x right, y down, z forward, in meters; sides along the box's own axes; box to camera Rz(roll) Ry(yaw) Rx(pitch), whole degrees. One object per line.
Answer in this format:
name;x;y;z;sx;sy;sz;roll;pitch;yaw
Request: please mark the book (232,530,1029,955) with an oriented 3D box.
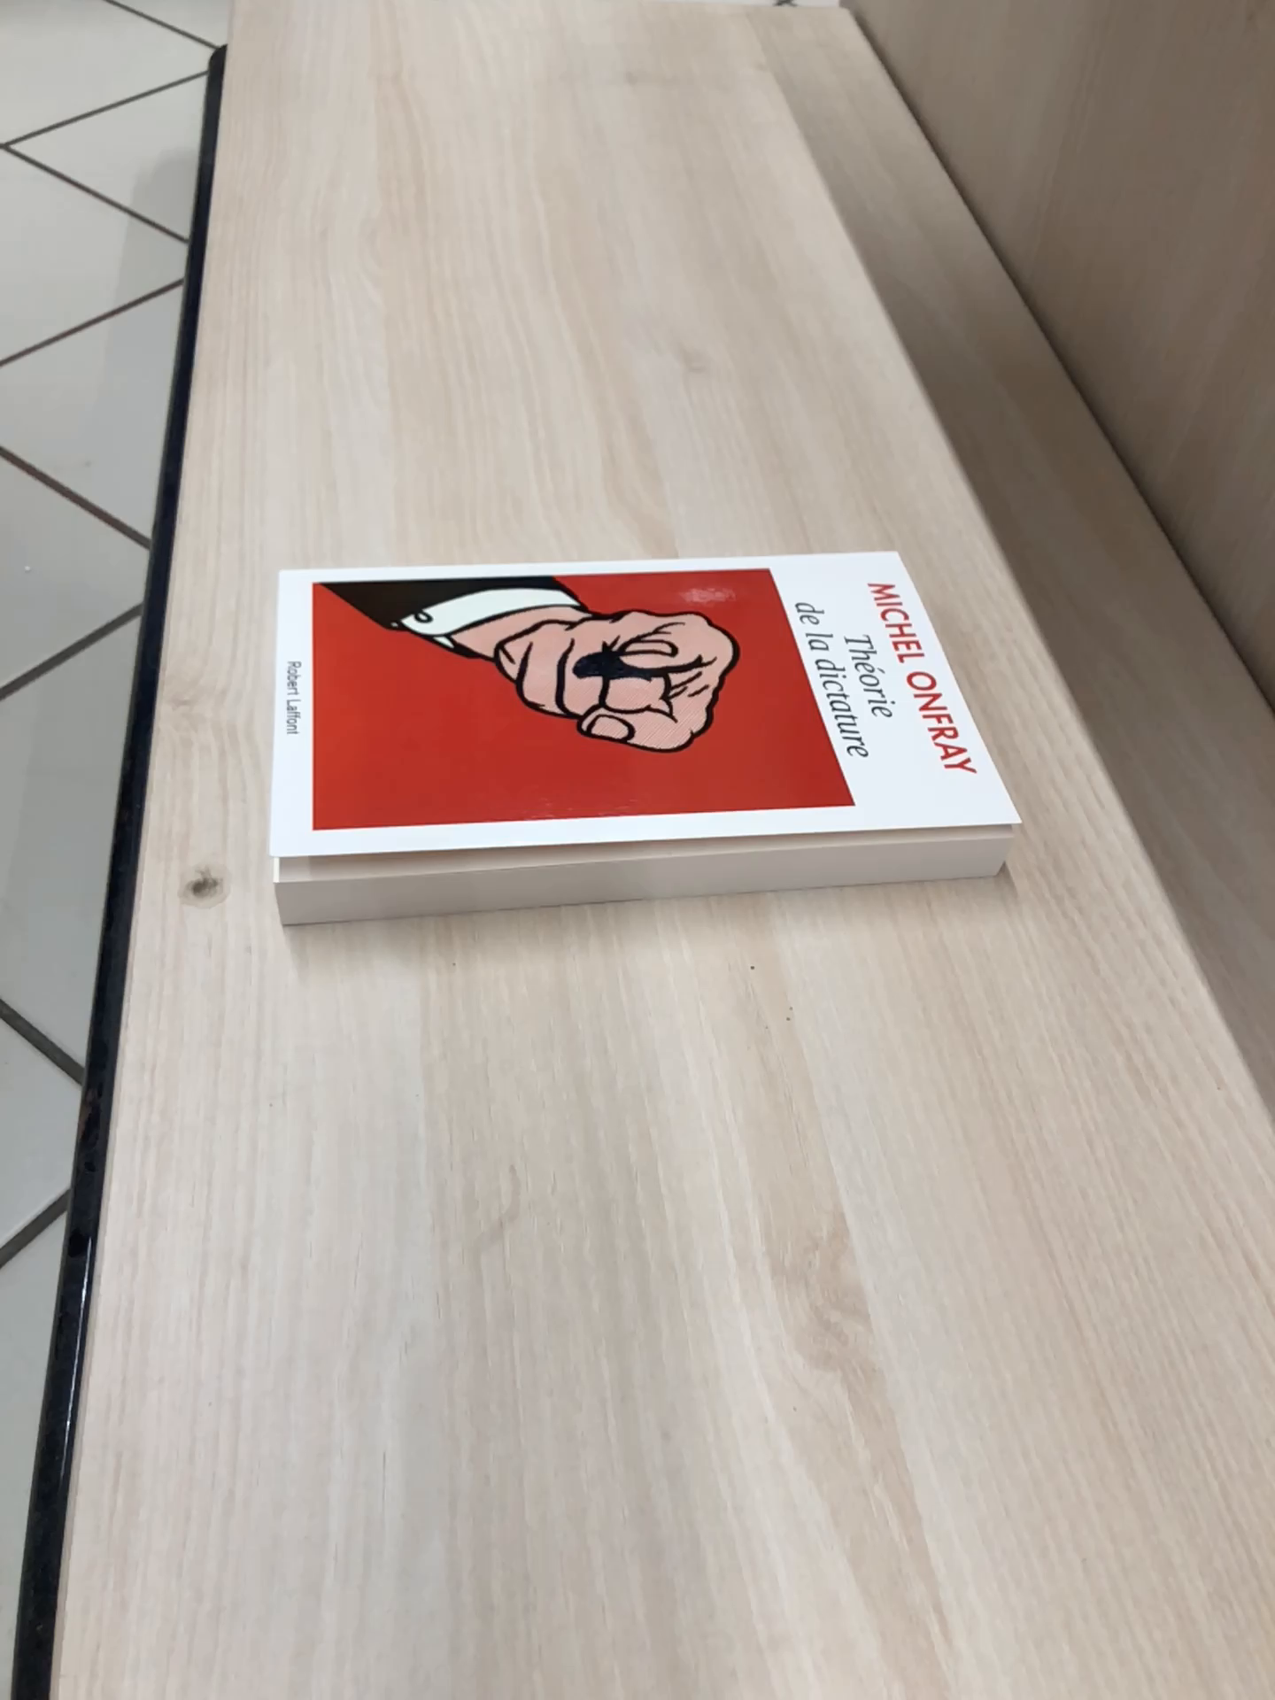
book;-0.008;-0.039;0.416;0.207;0.029;0.139;-3;49;-9
